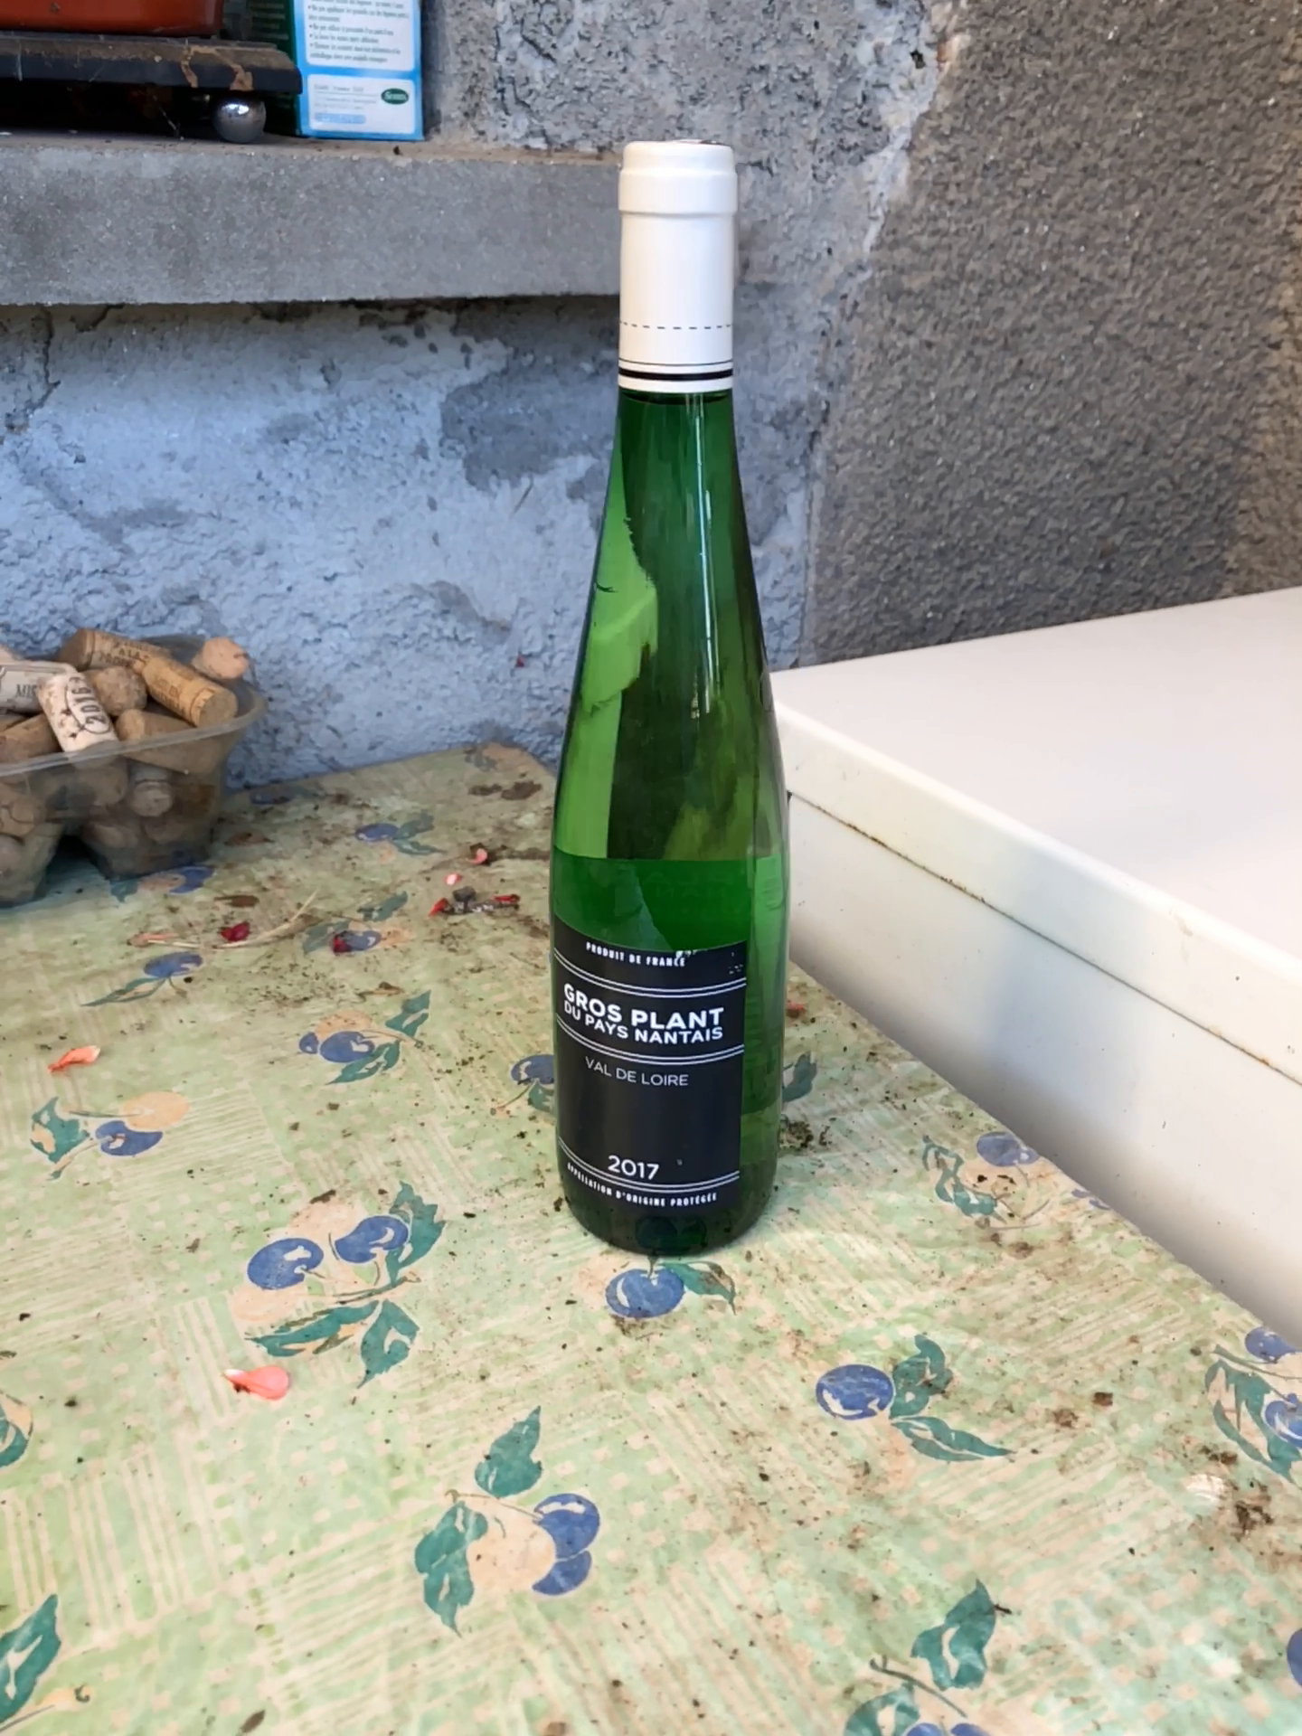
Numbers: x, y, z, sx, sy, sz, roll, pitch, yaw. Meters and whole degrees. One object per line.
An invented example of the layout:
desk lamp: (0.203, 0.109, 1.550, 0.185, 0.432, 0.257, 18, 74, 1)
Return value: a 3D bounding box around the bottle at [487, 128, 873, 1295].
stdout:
bottle: (0.008, -0.036, 0.442, 0.080, 0.338, 0.081, 1, 25, 0)
